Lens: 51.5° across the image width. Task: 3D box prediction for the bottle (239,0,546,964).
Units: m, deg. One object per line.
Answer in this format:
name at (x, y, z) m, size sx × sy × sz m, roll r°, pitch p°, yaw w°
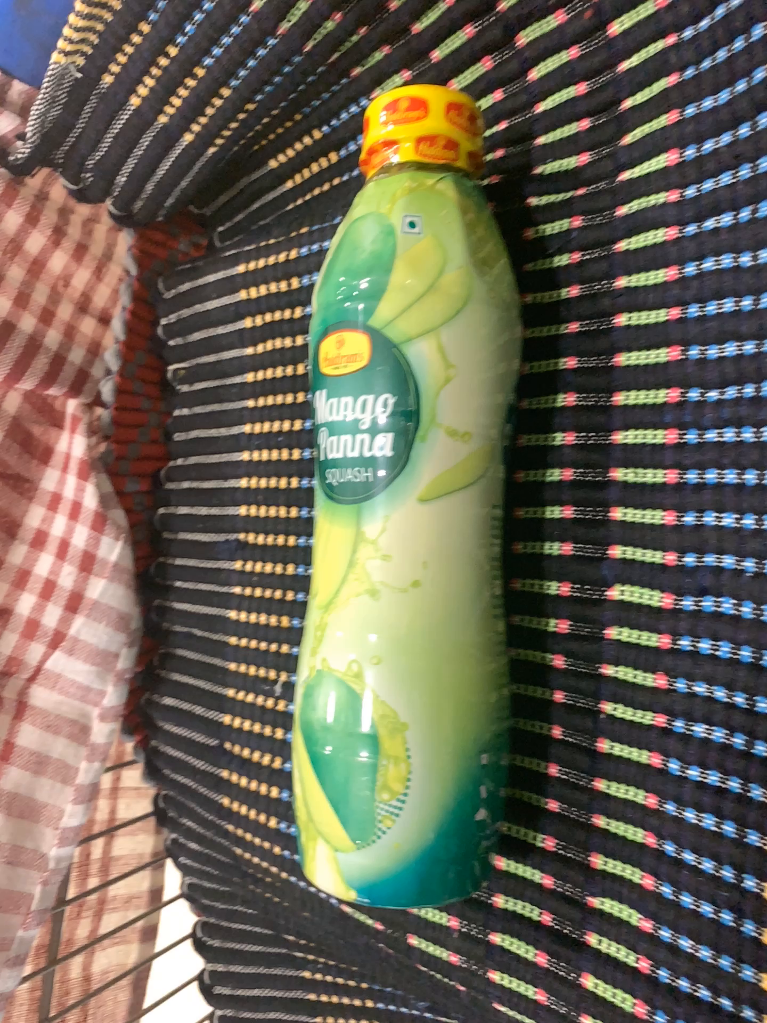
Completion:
bottle at (0.003, -0.013, 0.259) m, size 0.070 × 0.050 × 0.270 m, roll 1°, pitch 88°, yaw 39°
